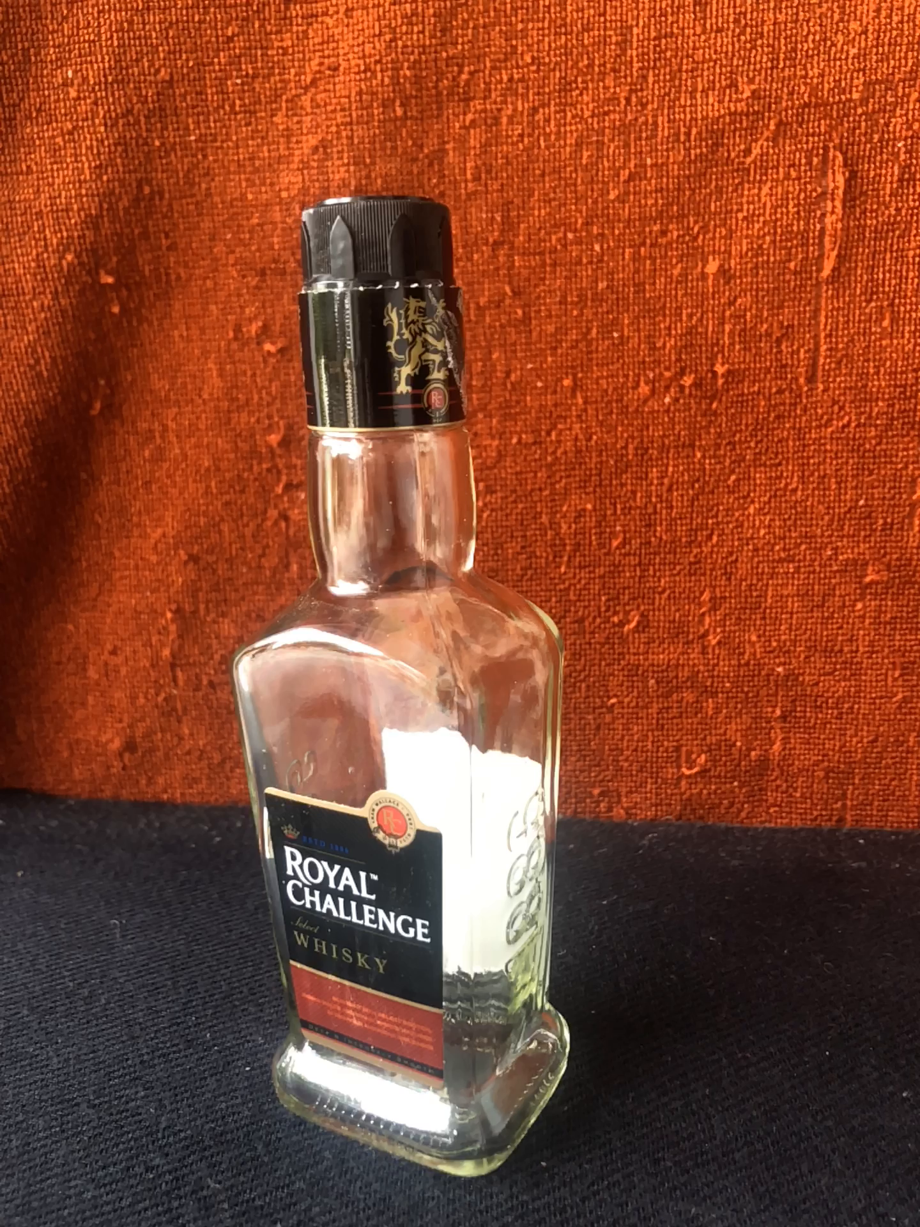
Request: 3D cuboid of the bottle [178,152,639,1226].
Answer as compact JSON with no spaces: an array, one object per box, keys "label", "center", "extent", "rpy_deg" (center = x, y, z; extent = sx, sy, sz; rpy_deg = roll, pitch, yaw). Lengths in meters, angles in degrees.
[{"label":"bottle","center":[-0.006,0.019,0.199],"extent":[0.060,0.189,0.050],"rpy_deg":[8,18,27]}]
